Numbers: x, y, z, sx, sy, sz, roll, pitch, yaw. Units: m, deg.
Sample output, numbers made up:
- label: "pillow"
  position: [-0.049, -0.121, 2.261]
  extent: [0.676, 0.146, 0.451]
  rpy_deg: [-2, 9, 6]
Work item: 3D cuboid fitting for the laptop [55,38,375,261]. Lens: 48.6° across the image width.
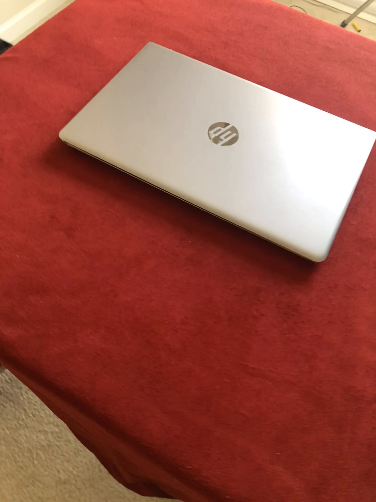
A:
- label: "laptop"
  position: [0.045, -0.161, 0.570]
  extent: [0.372, 0.006, 0.234]
  rpy_deg: [27, 63, 10]
